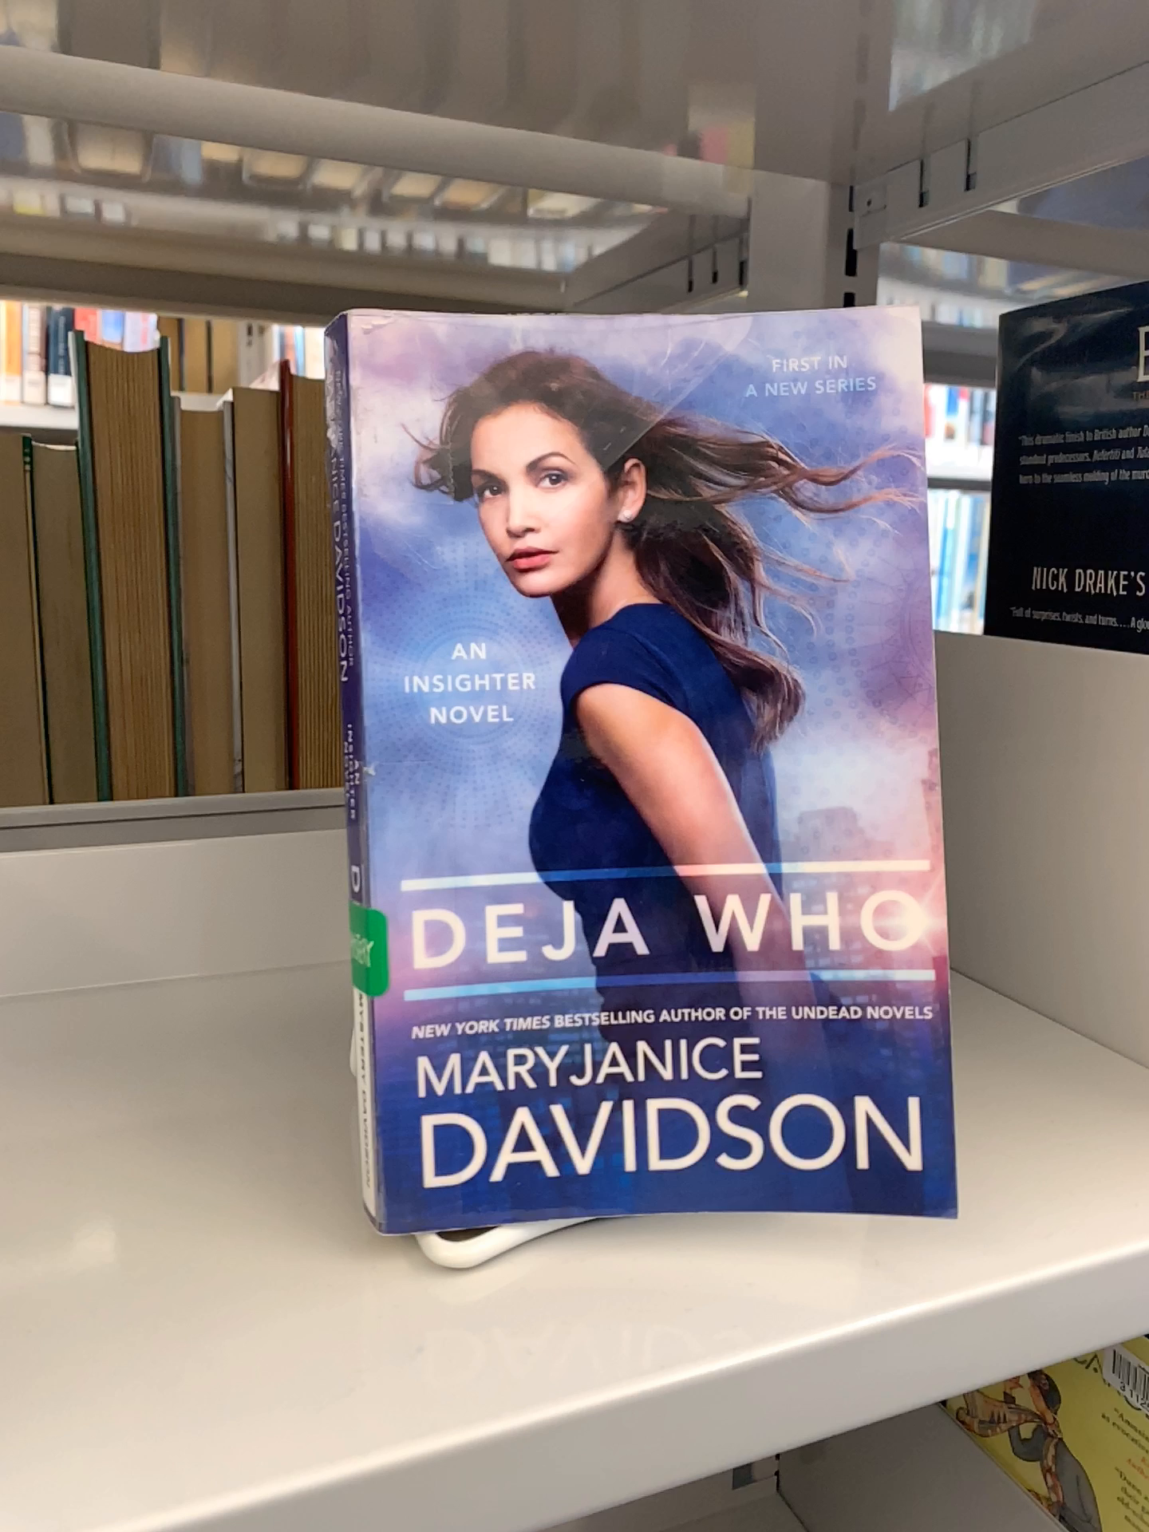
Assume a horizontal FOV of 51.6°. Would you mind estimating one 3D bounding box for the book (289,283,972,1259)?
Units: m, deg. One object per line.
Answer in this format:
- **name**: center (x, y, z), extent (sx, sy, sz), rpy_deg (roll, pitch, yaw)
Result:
- **book**: center (0.010, -0.001, 0.263), extent (0.136, 0.190, 0.047), rpy_deg (-1, -2, -7)
